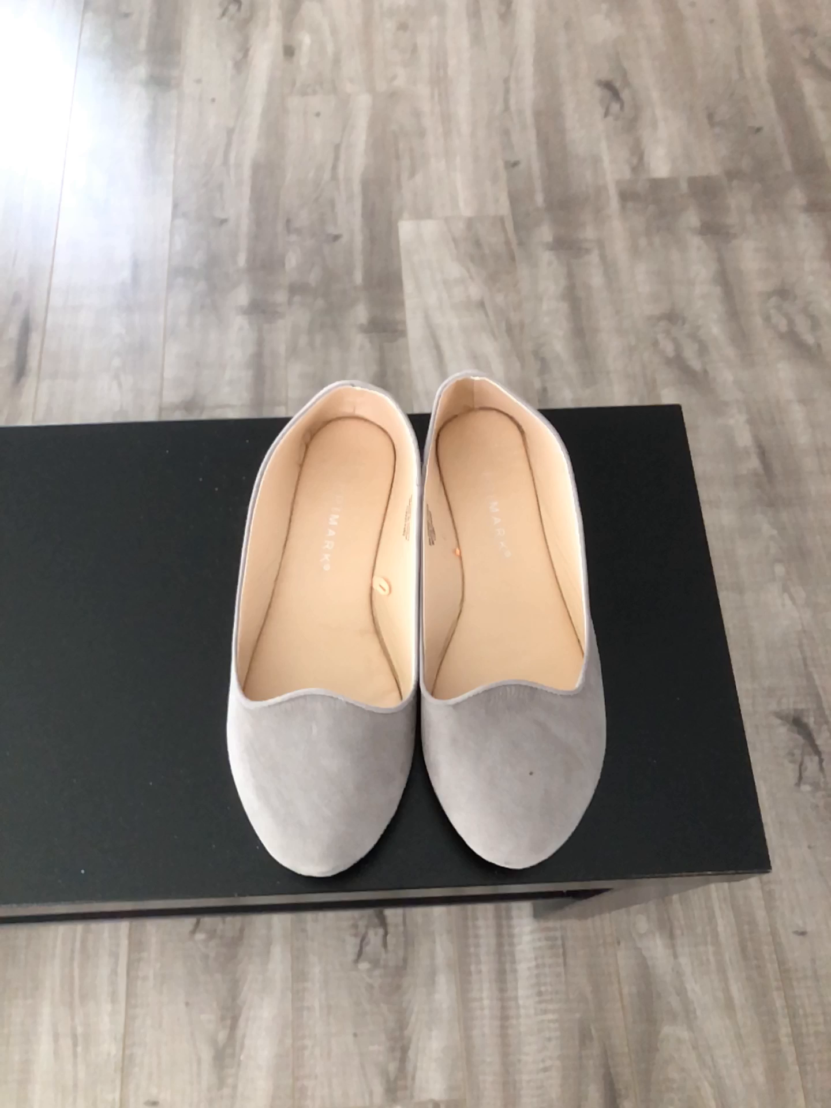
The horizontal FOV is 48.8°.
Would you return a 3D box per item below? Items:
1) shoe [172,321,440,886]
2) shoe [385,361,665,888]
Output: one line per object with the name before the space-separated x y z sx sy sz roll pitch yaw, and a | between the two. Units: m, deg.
shoe | -0.044 0.019 0.437 0.100 0.090 0.253 -1 65 -1
shoe | 0.043 0.027 0.456 0.100 0.060 0.250 -4 65 -3
